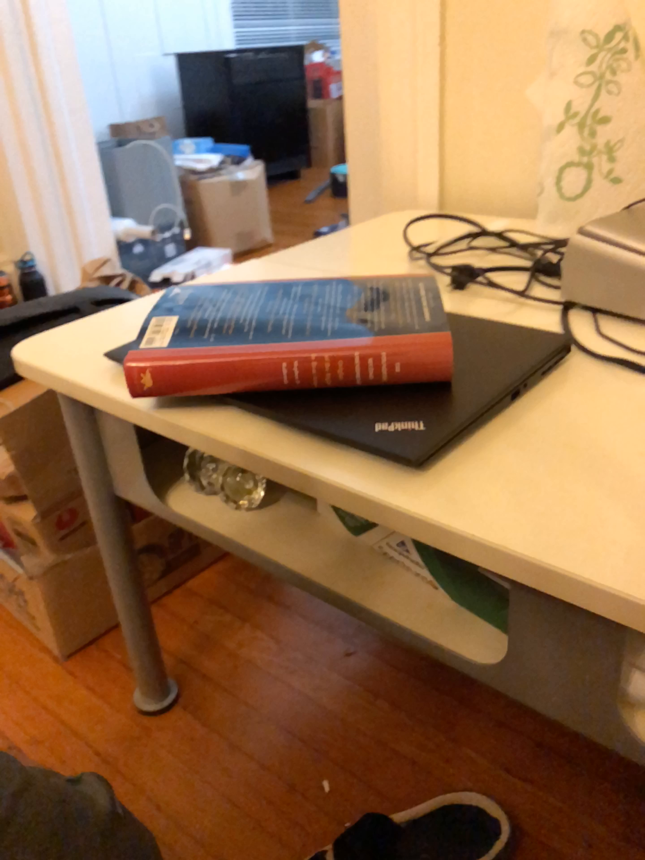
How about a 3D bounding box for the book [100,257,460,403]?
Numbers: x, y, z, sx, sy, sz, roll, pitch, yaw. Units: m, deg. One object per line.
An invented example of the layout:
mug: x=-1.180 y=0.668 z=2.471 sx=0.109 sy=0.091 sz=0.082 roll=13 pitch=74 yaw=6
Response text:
book: x=-0.024 y=-0.083 z=0.556 sx=0.240 sy=0.040 sz=0.171 roll=-4 pitch=27 yaw=7
